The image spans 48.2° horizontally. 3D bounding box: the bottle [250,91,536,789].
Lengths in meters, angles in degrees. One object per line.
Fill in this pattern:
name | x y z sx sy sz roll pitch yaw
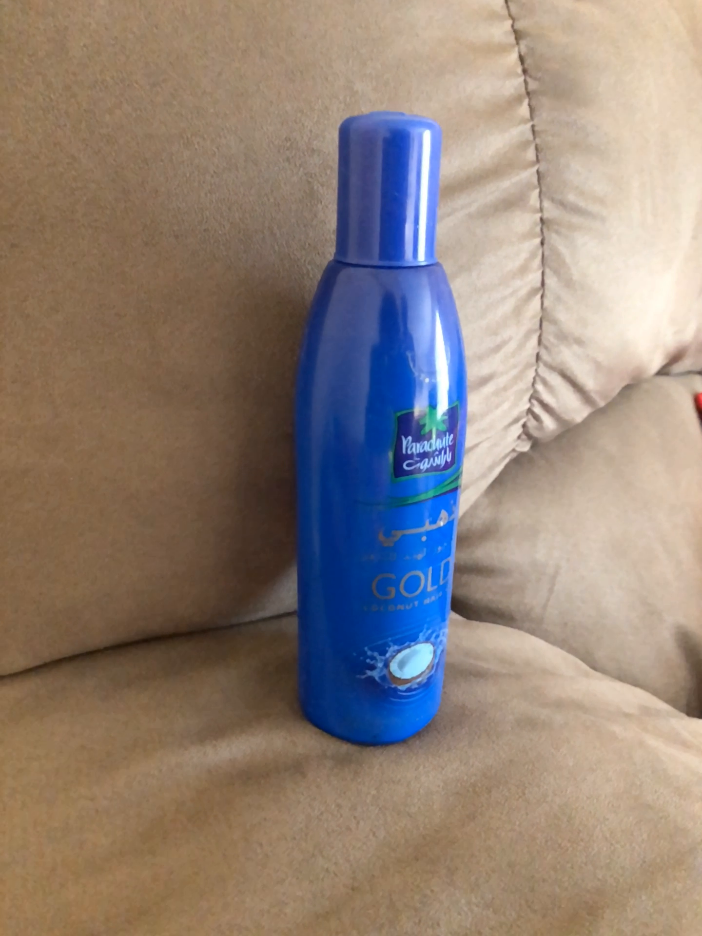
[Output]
bottle | 0.007 -0.005 0.224 0.050 0.180 0.050 1 21 0
